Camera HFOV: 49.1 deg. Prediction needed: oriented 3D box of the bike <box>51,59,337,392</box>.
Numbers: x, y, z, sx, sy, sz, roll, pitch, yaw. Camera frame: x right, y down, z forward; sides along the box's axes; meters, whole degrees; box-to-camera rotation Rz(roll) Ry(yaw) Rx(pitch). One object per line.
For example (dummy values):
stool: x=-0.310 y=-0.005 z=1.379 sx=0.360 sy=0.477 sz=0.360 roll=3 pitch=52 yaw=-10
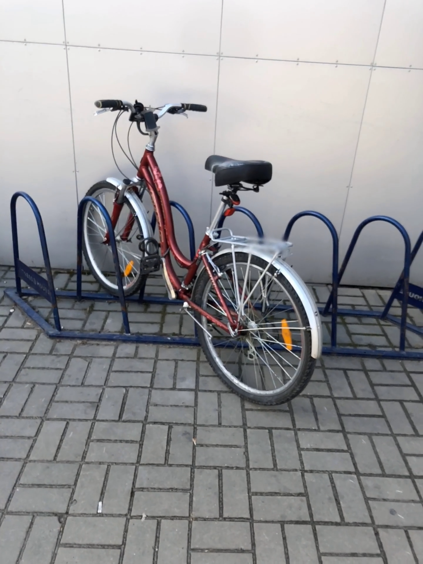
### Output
bike: x=-0.171 y=-0.398 z=2.206 sx=0.597 sy=0.972 sz=1.310 roll=-18 pitch=38 yaw=-36
